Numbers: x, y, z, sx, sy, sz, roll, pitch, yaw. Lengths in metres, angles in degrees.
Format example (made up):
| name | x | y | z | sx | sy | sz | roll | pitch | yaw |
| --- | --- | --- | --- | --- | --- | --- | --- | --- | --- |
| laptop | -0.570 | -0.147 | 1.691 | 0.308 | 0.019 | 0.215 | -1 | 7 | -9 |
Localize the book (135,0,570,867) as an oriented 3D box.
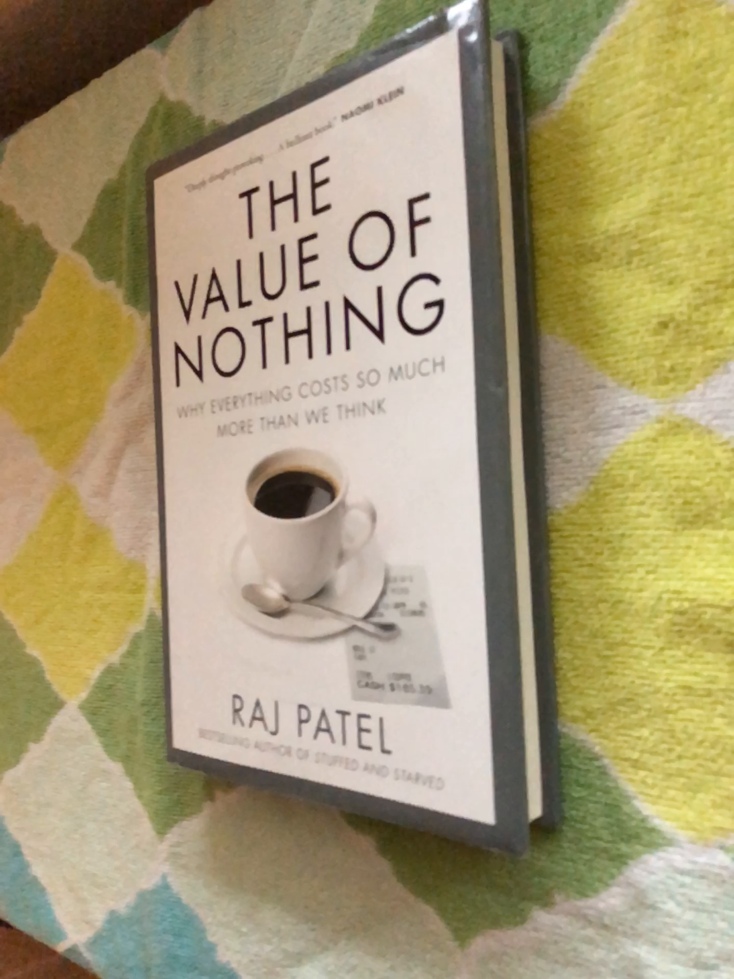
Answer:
| name | x | y | z | sx | sy | sz | roll | pitch | yaw |
| --- | --- | --- | --- | --- | --- | --- | --- | --- | --- |
| book | -0.015 | -0.013 | 0.245 | 0.141 | 0.030 | 0.206 | -4 | 87 | 40 |
